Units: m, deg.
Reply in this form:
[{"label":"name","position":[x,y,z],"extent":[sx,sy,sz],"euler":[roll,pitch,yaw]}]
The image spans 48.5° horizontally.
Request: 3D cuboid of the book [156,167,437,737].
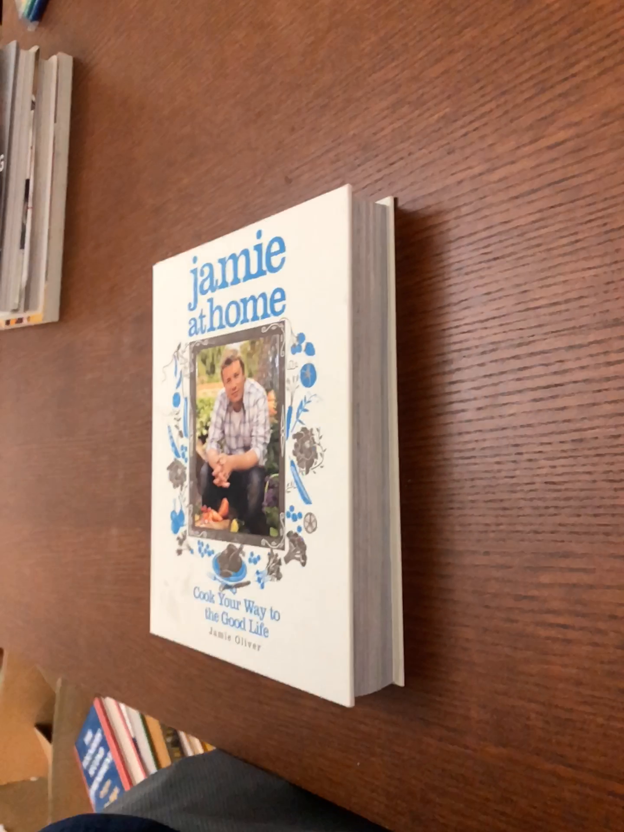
[{"label":"book","position":[-0.022,0.018,0.410],"extent":[0.211,0.040,0.260],"euler":[-4,85,50]}]
